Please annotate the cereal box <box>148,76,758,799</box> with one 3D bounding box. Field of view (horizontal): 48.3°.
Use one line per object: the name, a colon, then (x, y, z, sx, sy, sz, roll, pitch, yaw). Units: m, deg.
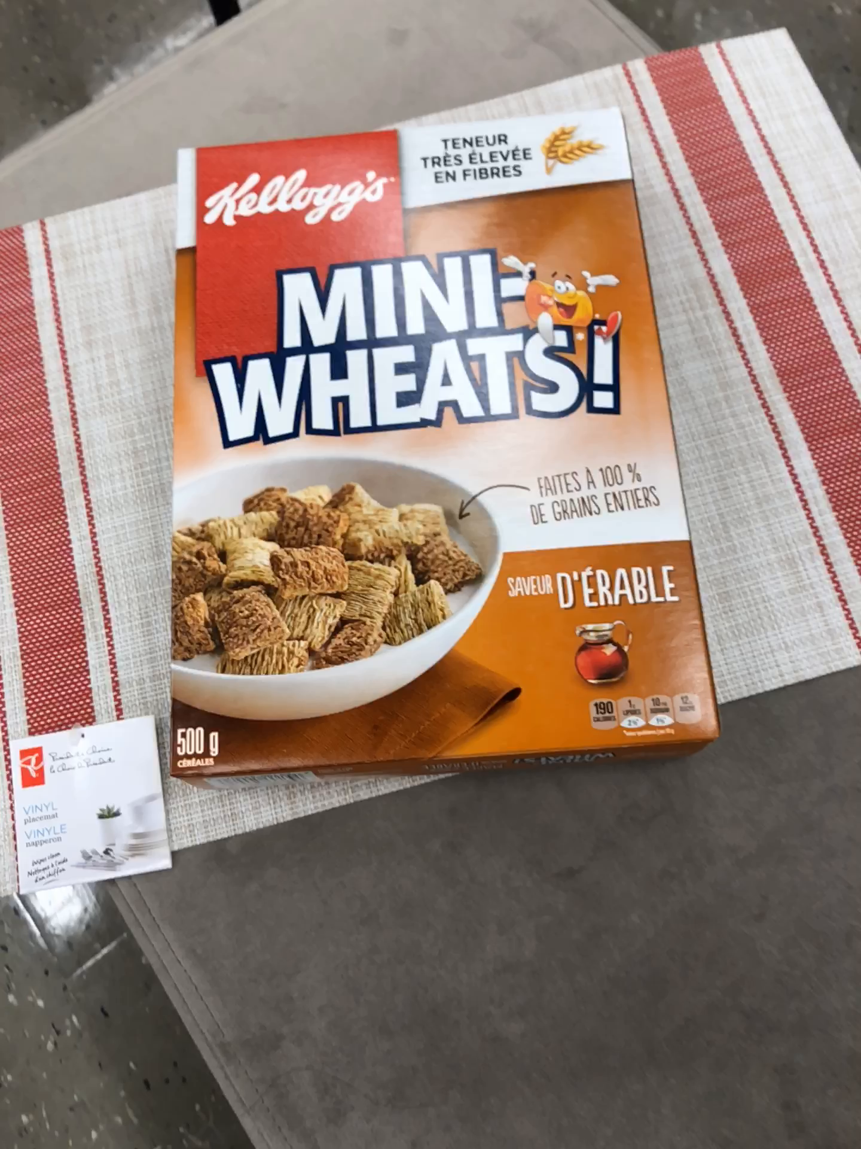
cereal box: (-0.001, -0.059, 0.399, 0.210, 0.060, 0.280, -5, 74, 3)
